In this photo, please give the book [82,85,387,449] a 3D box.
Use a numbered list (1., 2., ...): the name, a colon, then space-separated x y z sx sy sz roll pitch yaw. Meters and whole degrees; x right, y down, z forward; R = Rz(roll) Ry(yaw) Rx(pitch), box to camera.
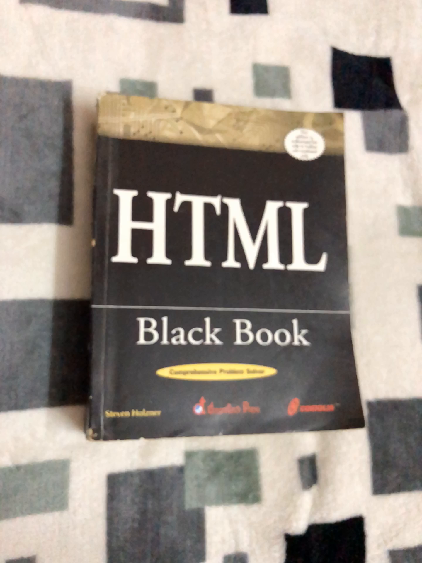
1. book: 0.010 -0.009 0.345 0.190 0.070 0.230 1 78 -12
